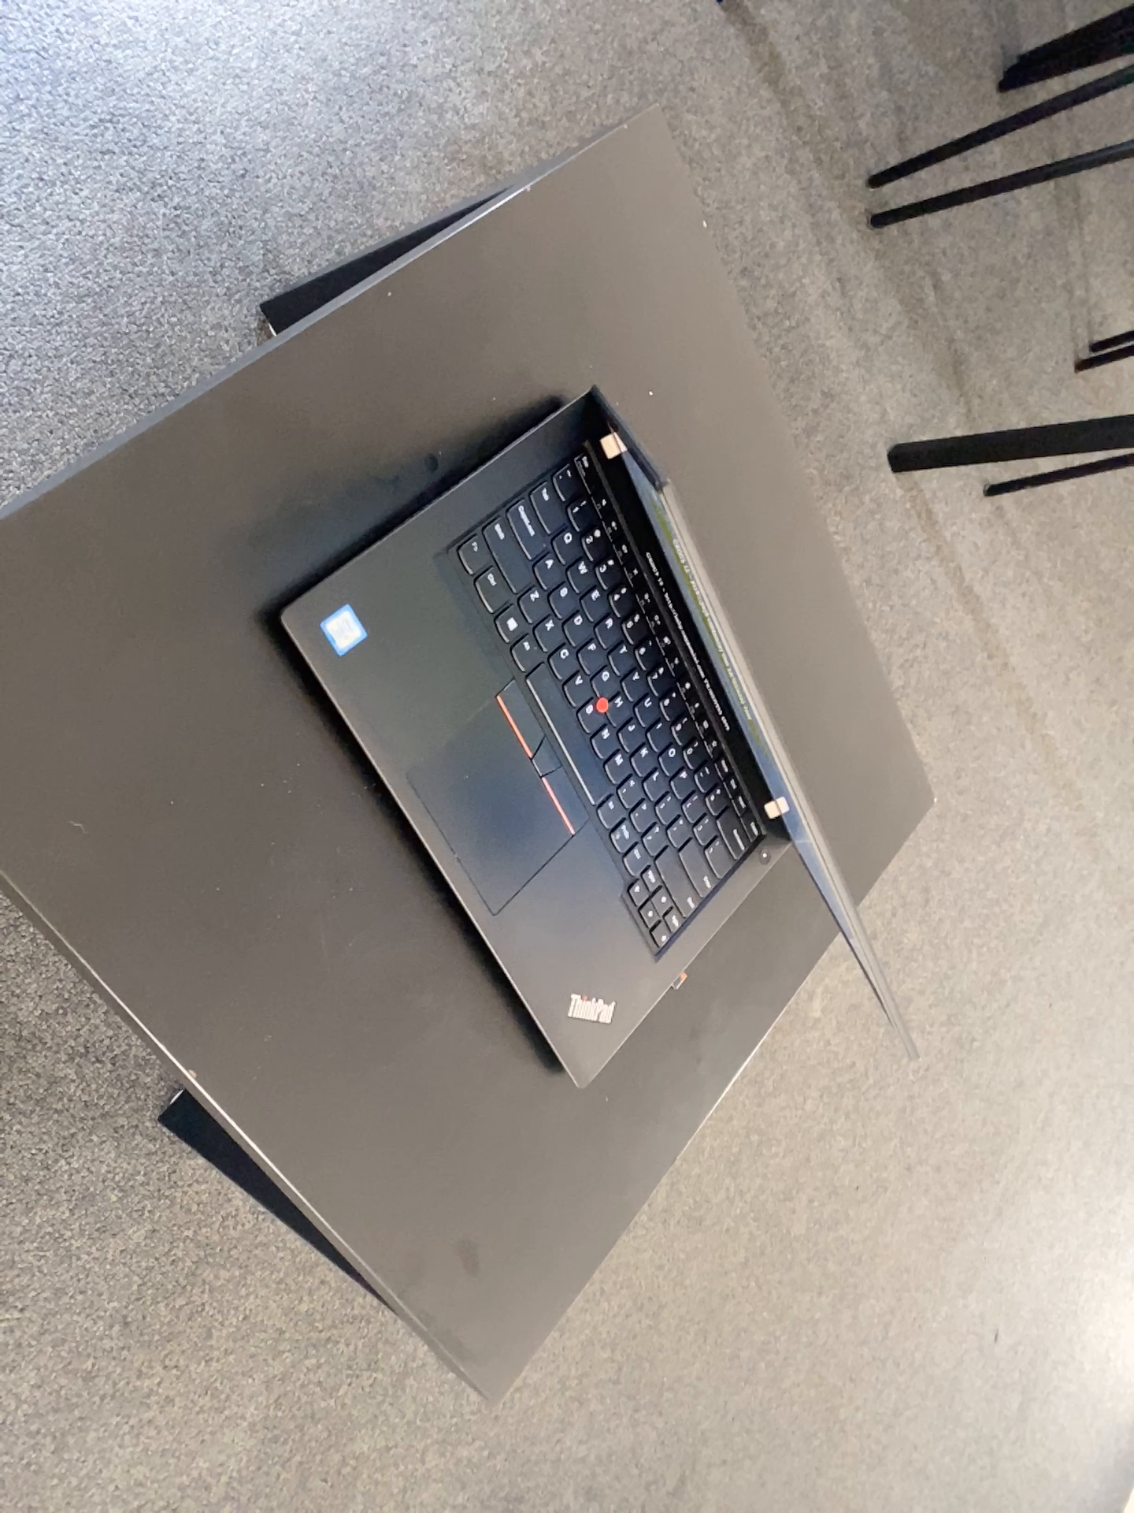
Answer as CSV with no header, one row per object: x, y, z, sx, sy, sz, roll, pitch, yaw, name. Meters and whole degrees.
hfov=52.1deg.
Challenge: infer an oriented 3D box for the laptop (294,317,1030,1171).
0.070,-0.004,0.602,0.224,0.165,0.333,-44,121,-27,laptop
